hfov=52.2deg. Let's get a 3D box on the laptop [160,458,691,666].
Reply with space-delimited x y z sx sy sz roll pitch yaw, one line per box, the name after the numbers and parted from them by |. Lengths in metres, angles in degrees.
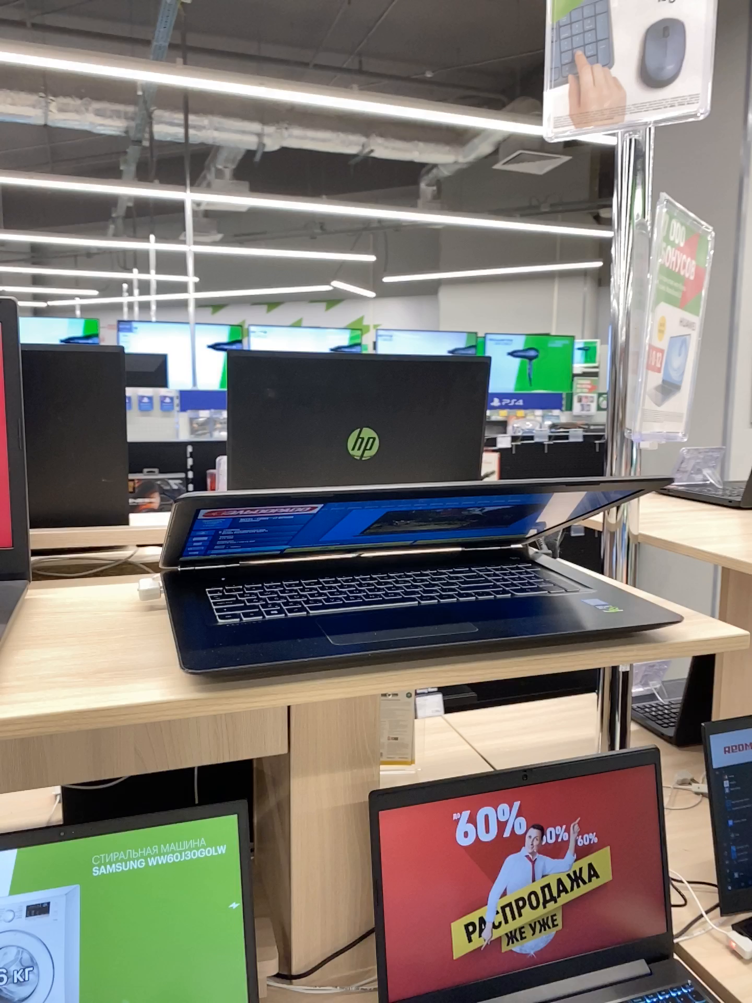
0.022 0.030 0.688 0.396 0.103 0.263 -2 10 -18 | laptop
